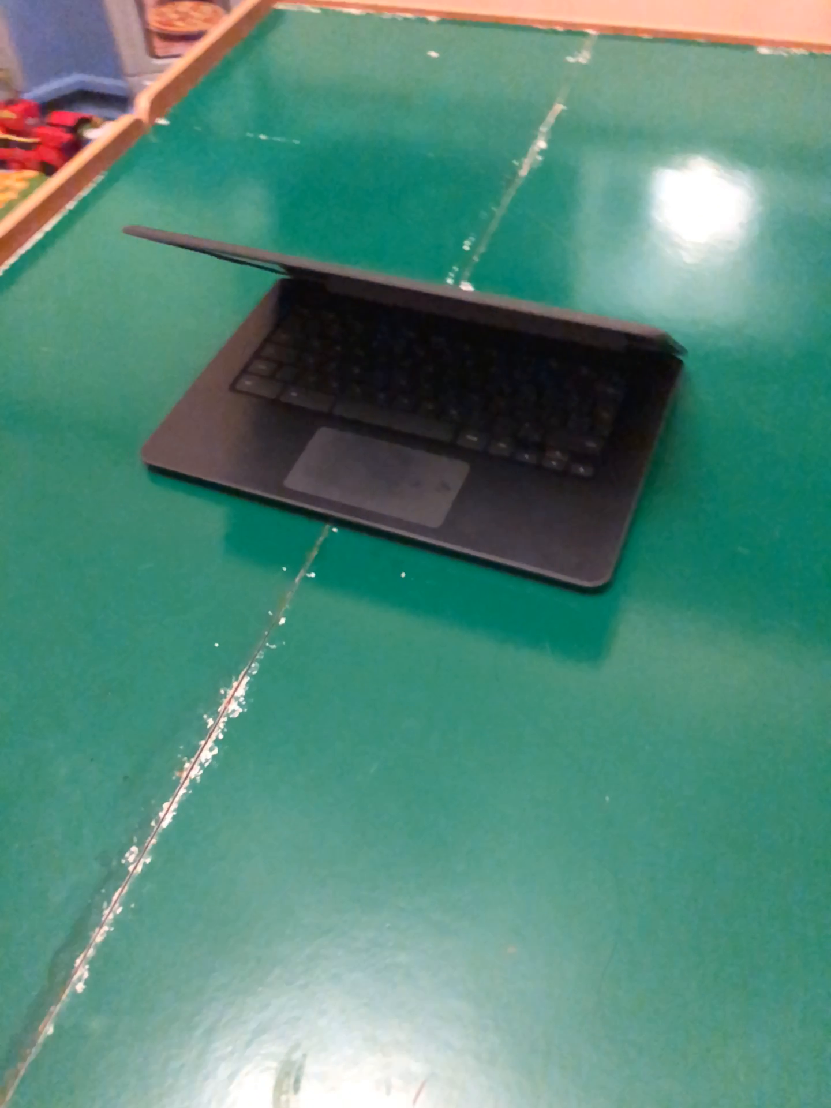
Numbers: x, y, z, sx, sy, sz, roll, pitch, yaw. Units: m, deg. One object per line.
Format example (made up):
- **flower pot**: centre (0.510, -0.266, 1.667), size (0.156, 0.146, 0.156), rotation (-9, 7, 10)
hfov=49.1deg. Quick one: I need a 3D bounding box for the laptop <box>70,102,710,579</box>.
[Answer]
- **laptop**: centre (-0.006, -0.149, 0.585), size (0.316, 0.144, 0.209), rotation (16, 55, 16)
